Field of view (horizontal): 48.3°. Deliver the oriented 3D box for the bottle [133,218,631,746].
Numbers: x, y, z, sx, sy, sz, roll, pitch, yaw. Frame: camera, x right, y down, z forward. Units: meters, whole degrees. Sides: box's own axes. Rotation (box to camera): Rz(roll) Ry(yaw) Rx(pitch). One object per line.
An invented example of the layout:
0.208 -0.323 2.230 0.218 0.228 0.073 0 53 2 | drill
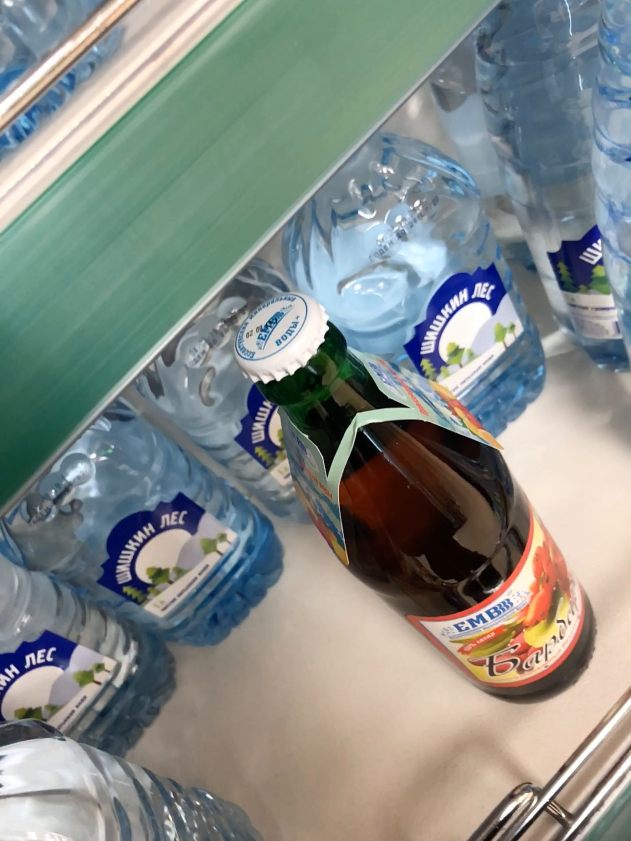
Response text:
0.046 0.042 0.251 0.073 0.222 0.057 -46 43 -3 | bottle
